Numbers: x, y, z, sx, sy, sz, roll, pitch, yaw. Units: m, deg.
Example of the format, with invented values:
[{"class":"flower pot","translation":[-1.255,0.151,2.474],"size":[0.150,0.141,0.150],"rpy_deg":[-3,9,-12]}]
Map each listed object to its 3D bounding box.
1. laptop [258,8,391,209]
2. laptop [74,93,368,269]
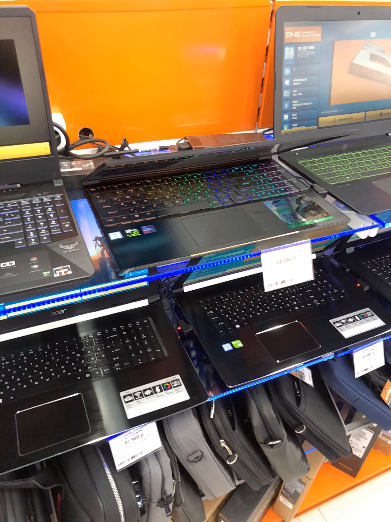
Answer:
[{"class":"laptop","translation":[0.359,-0.301,0.784],"size":[0.334,0.252,0.307],"rpy_deg":[-13,39,-21]},{"class":"laptop","translation":[0.027,-0.144,0.655],"size":[0.360,0.118,0.234],"rpy_deg":[-13,41,-20]}]
